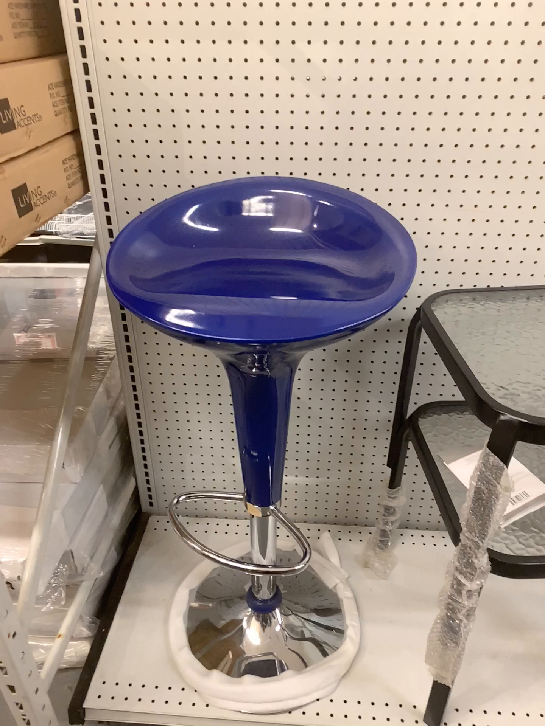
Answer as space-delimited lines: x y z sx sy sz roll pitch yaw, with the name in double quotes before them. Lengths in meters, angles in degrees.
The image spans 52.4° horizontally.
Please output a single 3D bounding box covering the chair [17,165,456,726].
"chair" -0.027 0.154 0.941 0.434 0.852 0.419 2 31 3
